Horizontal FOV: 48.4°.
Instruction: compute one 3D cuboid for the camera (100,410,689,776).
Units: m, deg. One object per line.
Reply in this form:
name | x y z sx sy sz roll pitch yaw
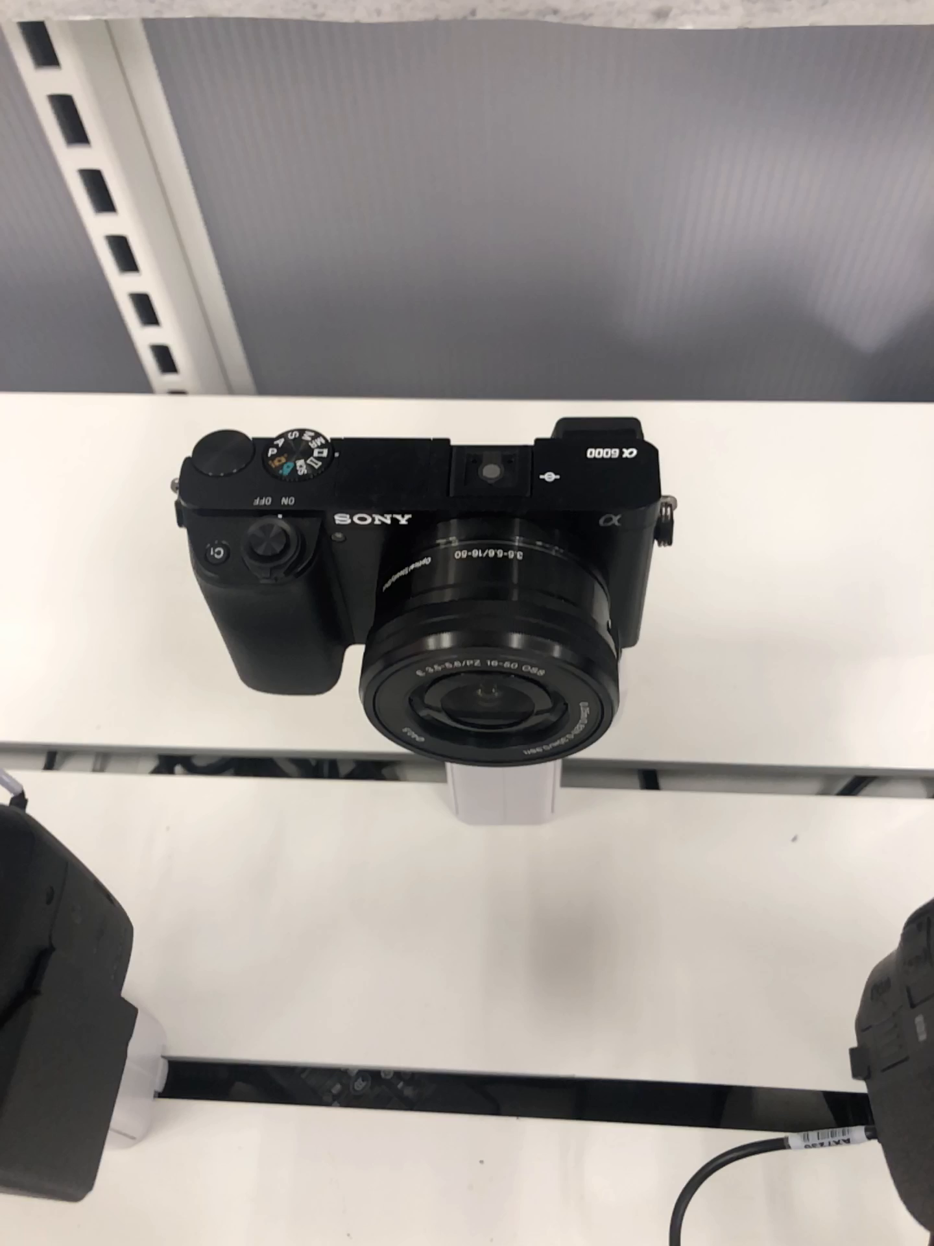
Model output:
camera | -0.014 -0.006 0.253 0.120 0.058 0.067 0 59 3
